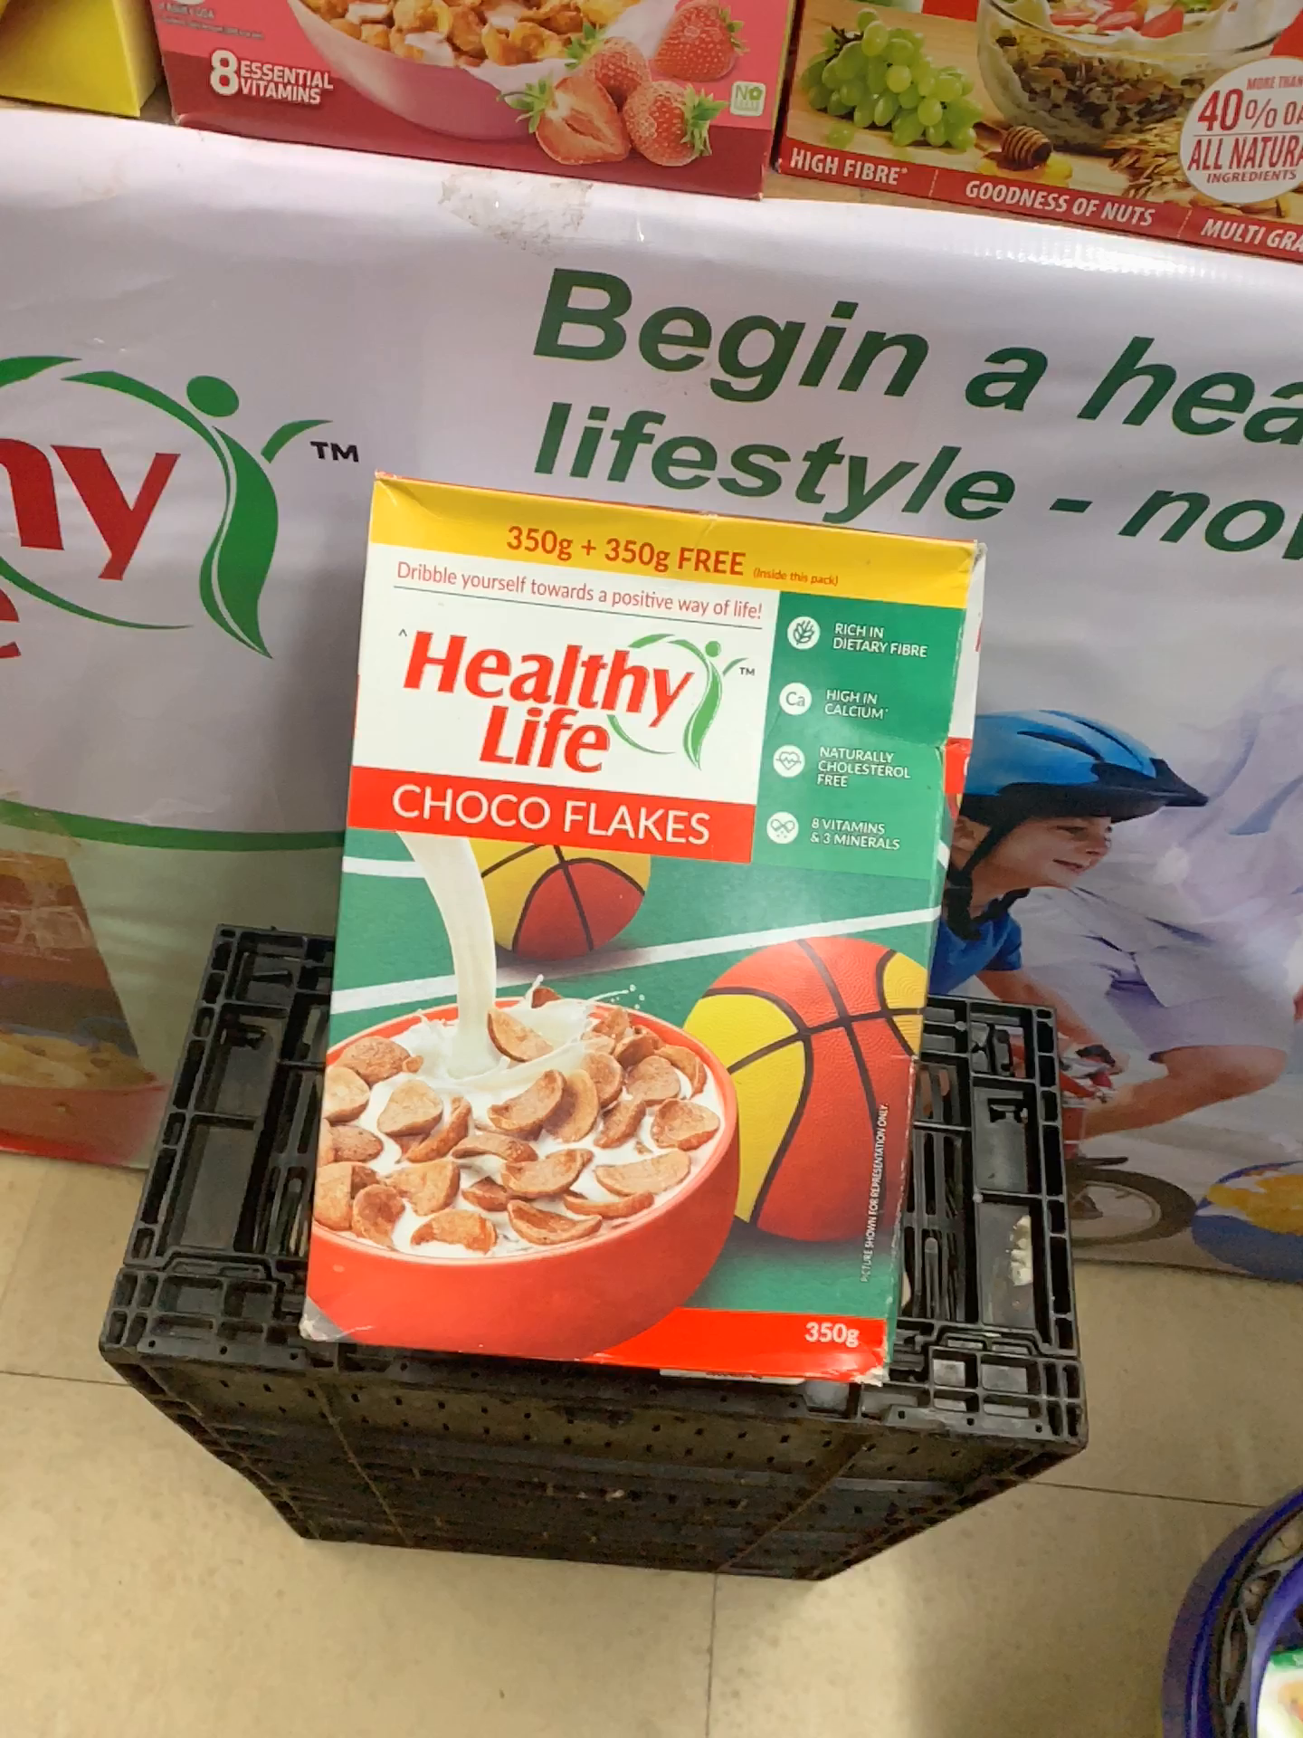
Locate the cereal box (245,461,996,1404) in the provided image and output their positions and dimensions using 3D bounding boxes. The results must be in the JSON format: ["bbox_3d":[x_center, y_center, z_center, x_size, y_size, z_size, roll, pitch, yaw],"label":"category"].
[{"bbox_3d":[-0.013,0.021,0.461,0.210,0.090,0.280,5,96,-2],"label":"cereal box"}]
